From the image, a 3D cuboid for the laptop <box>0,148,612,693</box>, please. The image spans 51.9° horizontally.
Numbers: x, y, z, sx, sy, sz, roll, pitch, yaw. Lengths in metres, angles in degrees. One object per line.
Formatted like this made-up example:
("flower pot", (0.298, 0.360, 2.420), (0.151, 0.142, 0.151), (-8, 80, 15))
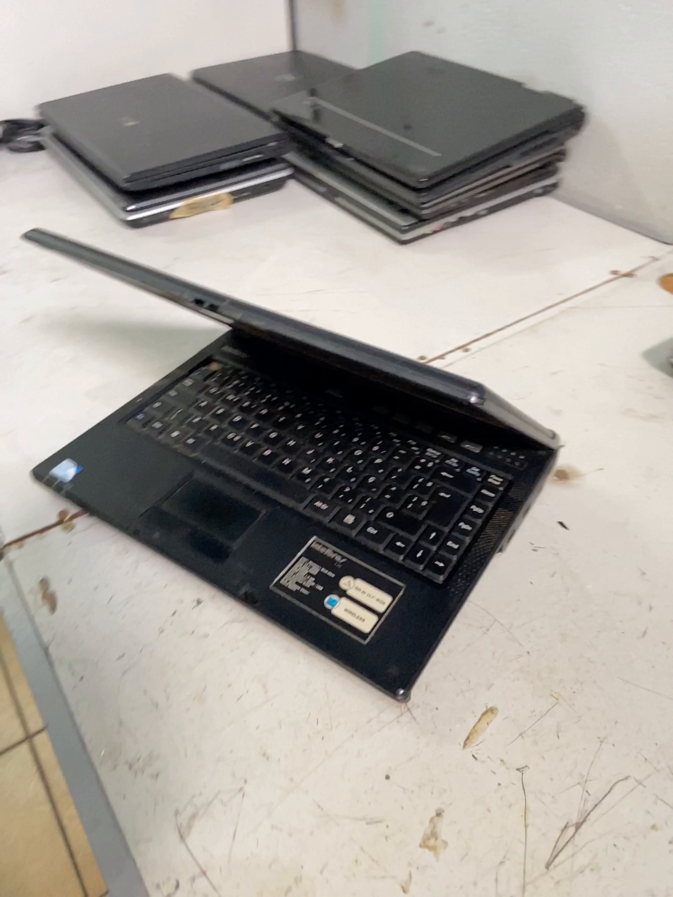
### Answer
("laptop", (-0.036, -0.052, 0.467), (0.324, 0.168, 0.236), (23, 48, 26))
